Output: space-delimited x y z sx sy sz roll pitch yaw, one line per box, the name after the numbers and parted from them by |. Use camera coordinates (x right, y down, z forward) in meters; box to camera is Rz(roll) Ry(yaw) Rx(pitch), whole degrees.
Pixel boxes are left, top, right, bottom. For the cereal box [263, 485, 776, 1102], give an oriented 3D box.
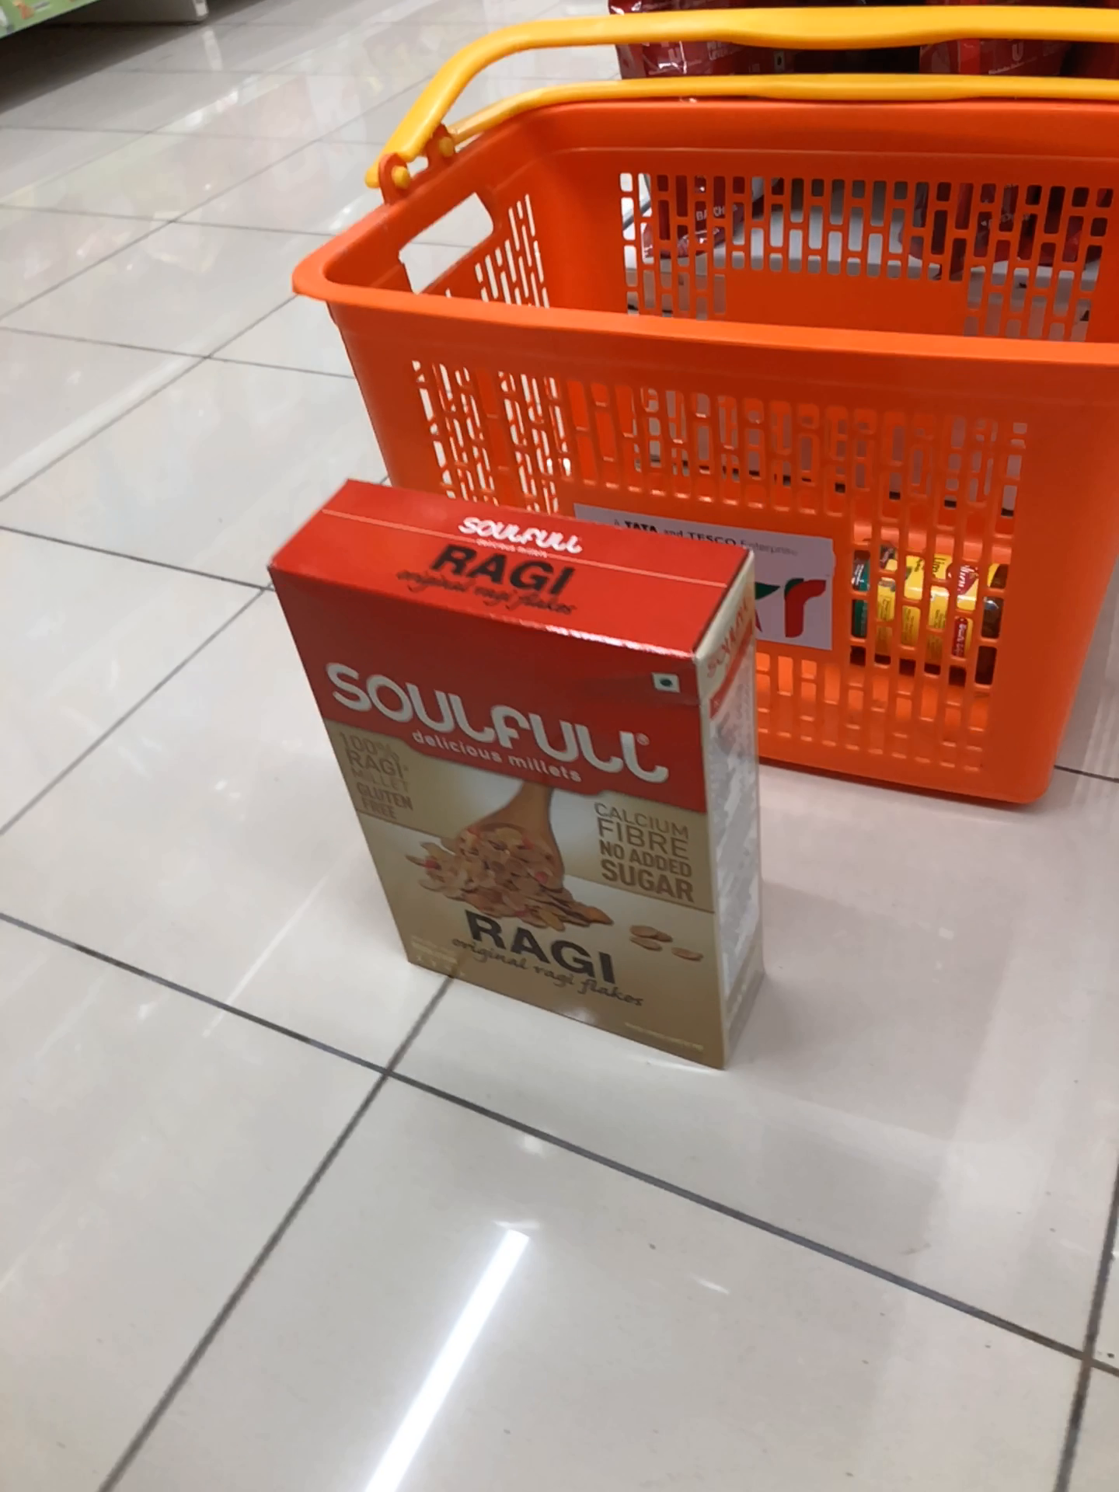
-0.003 0.025 0.504 0.170 0.239 0.060 14 46 24 | cereal box
